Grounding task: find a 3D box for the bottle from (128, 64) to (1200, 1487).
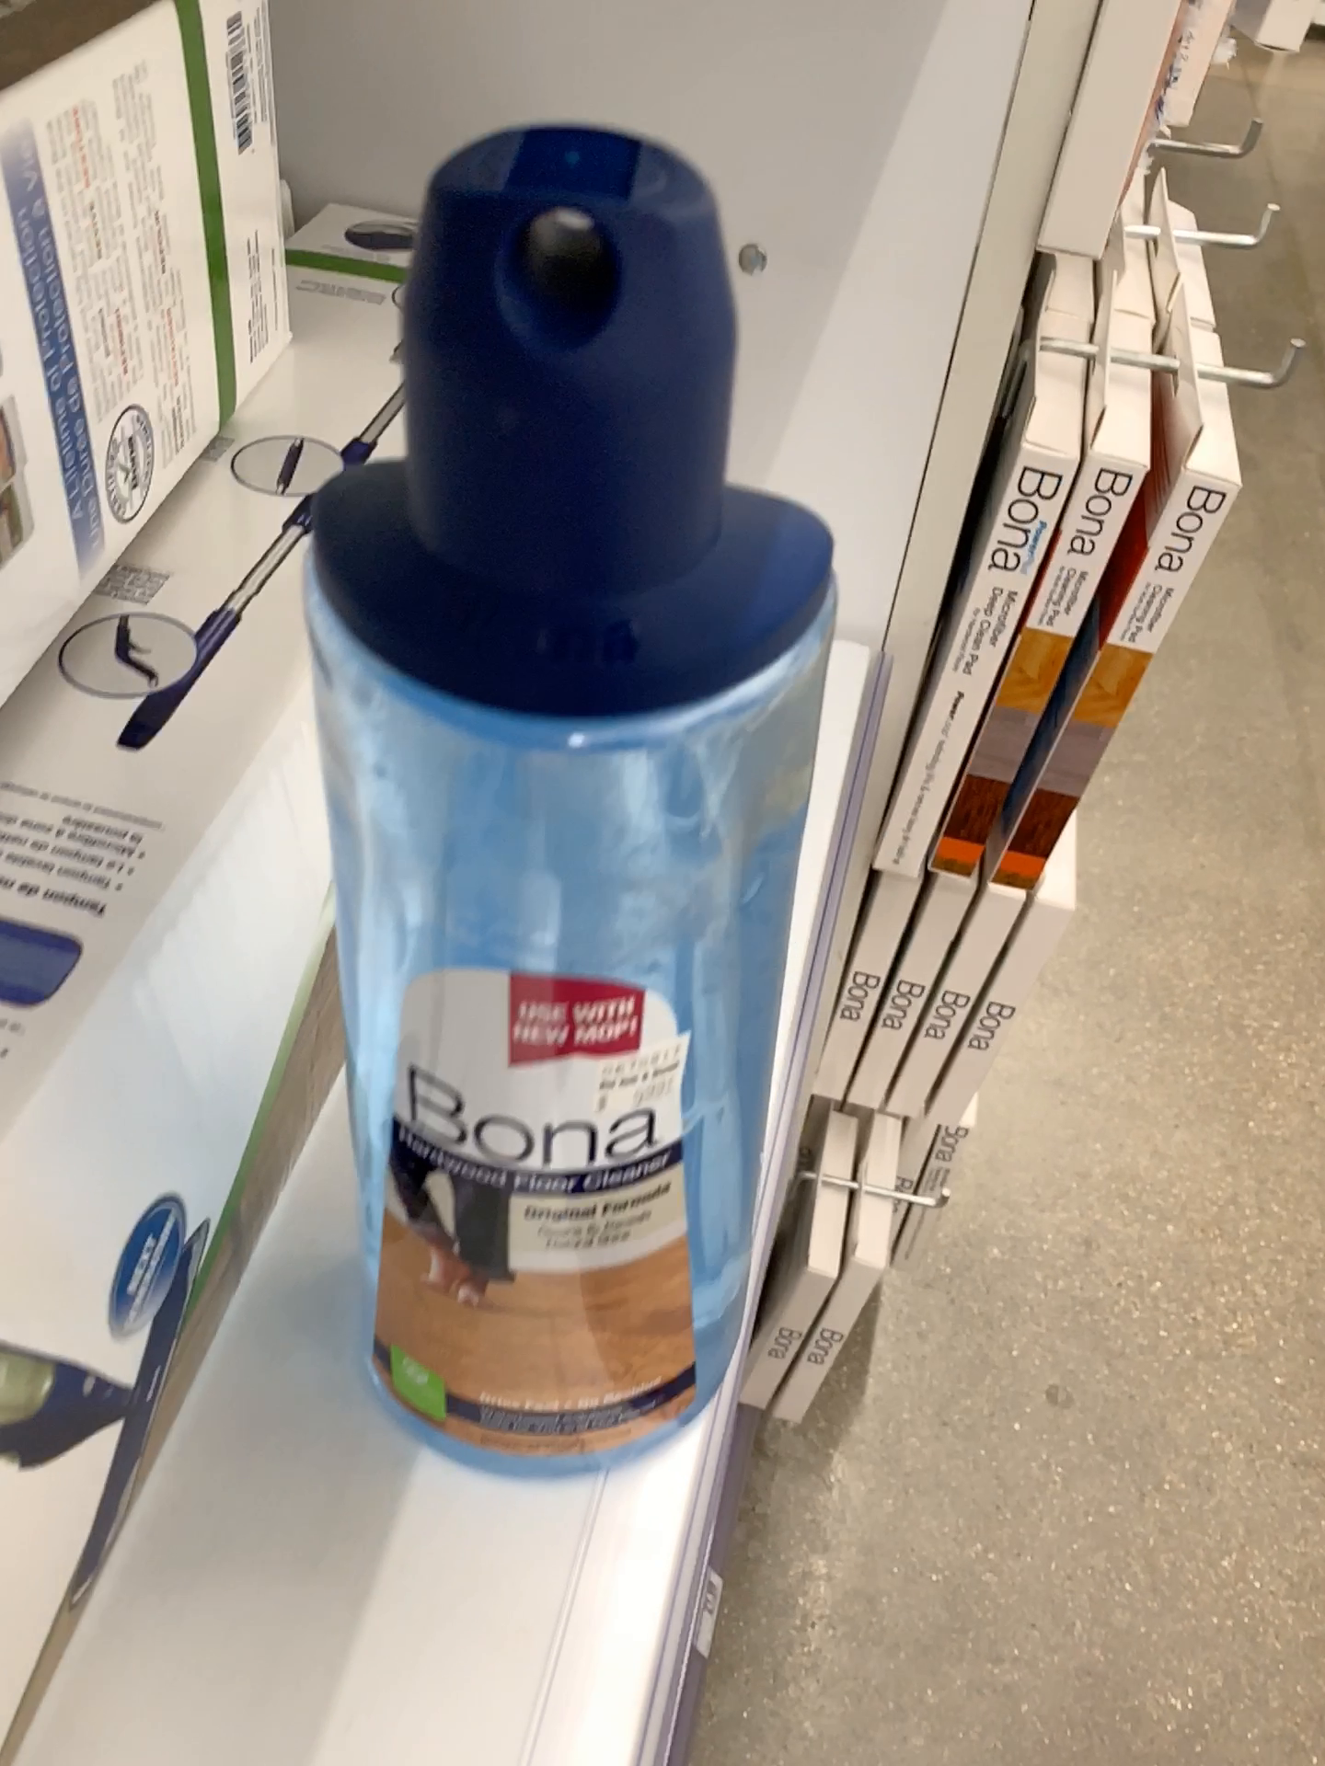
[{"bbox_3d":[-0.011,0.020,0.255,0.100,0.279,0.080,2,46,-4],"label":"bottle"}]
